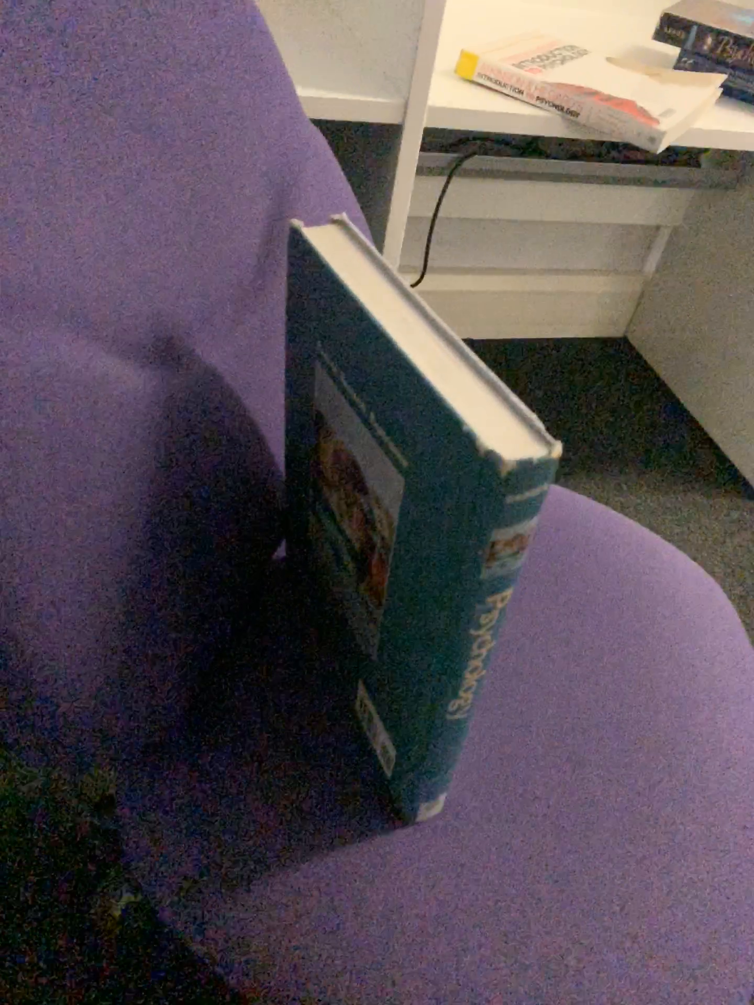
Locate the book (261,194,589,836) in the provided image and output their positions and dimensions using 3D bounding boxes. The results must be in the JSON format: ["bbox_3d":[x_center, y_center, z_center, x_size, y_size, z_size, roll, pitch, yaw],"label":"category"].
[{"bbox_3d":[-0.007,0.013,0.451,0.040,0.287,0.244,-13,48,-22],"label":"book"}]
